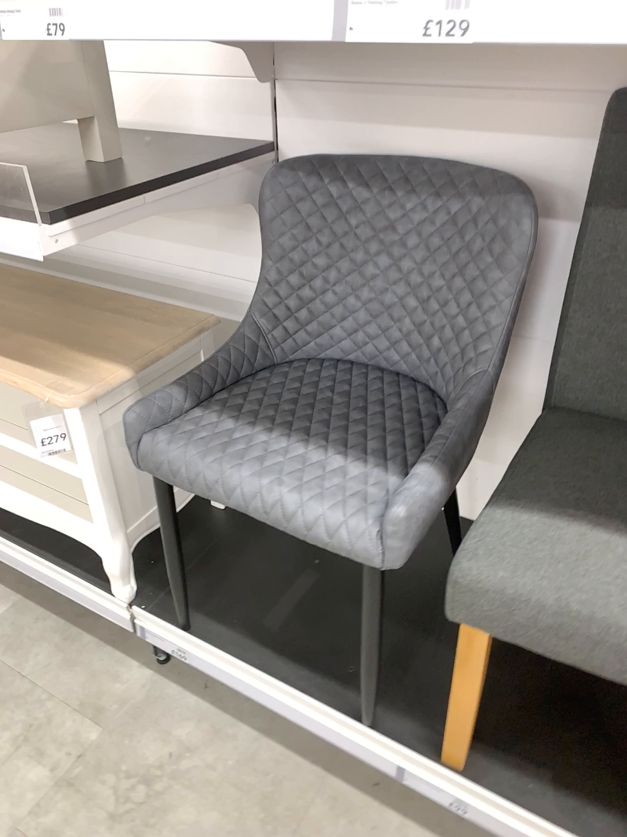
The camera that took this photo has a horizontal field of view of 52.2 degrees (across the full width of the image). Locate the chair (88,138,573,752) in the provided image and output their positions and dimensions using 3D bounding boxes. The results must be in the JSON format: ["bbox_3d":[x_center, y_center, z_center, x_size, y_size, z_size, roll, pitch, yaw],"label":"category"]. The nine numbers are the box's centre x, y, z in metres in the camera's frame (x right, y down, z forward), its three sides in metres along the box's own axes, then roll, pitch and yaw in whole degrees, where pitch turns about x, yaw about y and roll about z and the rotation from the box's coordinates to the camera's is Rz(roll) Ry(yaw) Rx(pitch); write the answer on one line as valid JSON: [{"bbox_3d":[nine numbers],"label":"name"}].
[{"bbox_3d":[0.065,0.002,1.111,0.481,0.792,0.544,17,36,26],"label":"chair"}]

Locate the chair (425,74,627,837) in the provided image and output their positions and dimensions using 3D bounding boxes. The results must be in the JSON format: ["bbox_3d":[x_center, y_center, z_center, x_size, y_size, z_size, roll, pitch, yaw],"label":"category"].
[{"bbox_3d":[0.493,0.075,0.875,0.431,0.911,0.564,16,36,25],"label":"chair"}]
